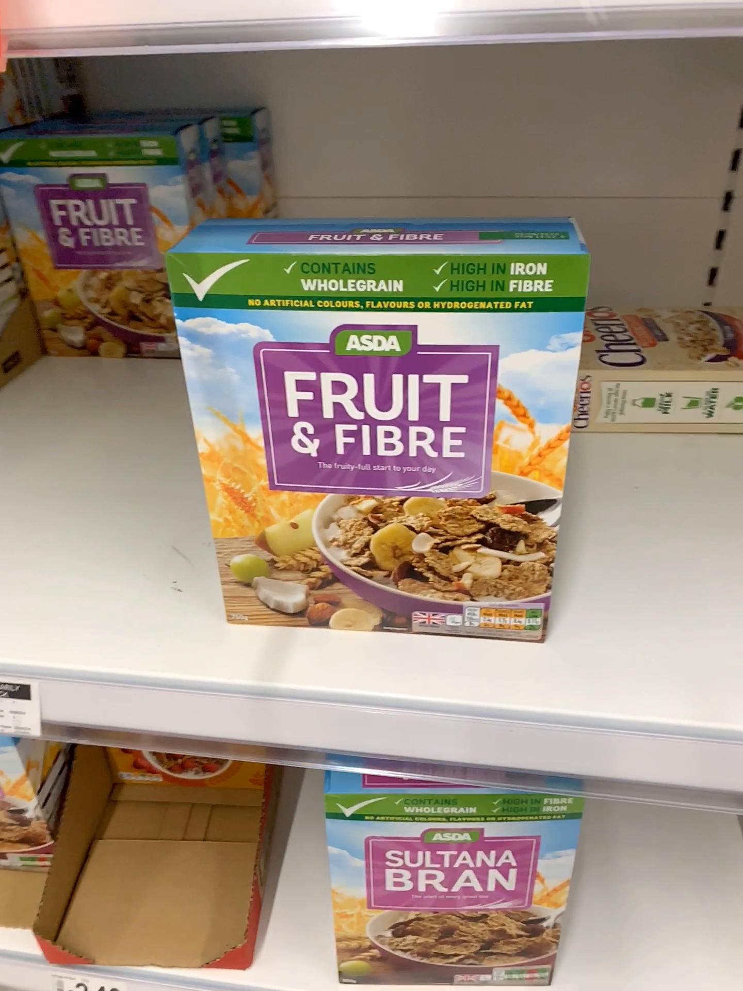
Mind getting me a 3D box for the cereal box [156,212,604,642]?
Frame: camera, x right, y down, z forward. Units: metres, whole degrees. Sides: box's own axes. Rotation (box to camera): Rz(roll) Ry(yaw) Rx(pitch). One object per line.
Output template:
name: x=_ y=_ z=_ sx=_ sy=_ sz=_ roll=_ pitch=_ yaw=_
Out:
cereal box: x=0.010 y=-0.038 z=0.490 sx=0.230 sy=0.257 sz=0.081 roll=2 pitch=32 yaw=7
